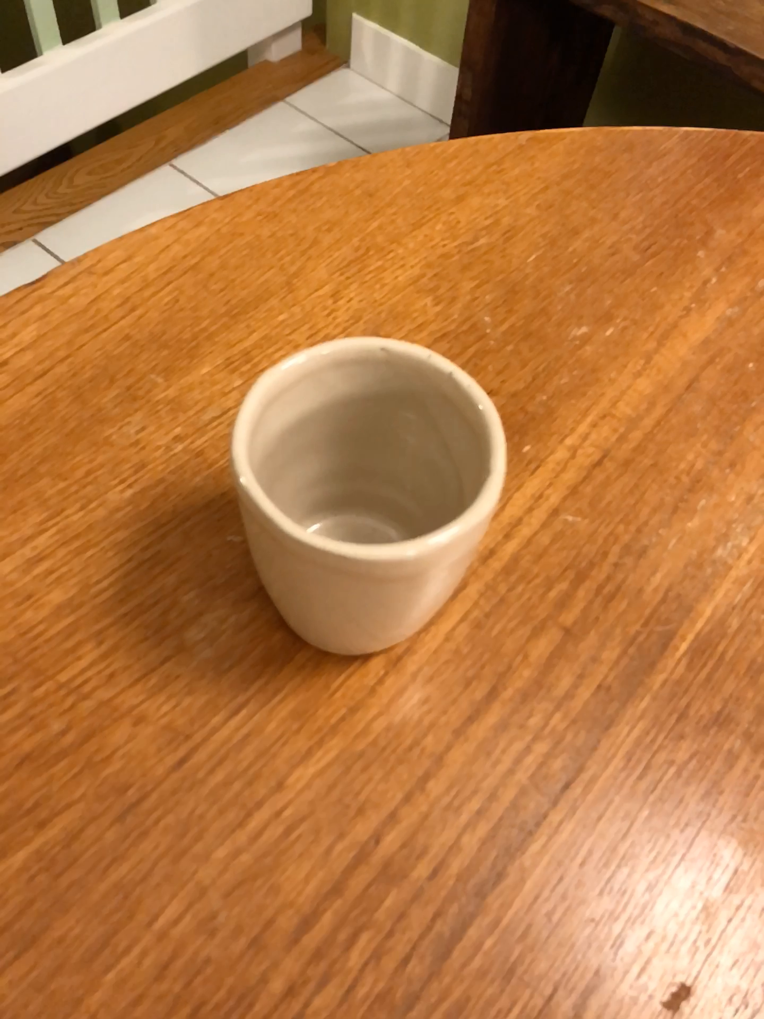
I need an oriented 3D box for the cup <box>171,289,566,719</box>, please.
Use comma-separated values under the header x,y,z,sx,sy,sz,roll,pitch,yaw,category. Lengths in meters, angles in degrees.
x,y,z,sx,sy,sz,roll,pitch,yaw,category
-0.005,0.000,0.283,0.084,0.086,0.083,3,57,-4,cup
